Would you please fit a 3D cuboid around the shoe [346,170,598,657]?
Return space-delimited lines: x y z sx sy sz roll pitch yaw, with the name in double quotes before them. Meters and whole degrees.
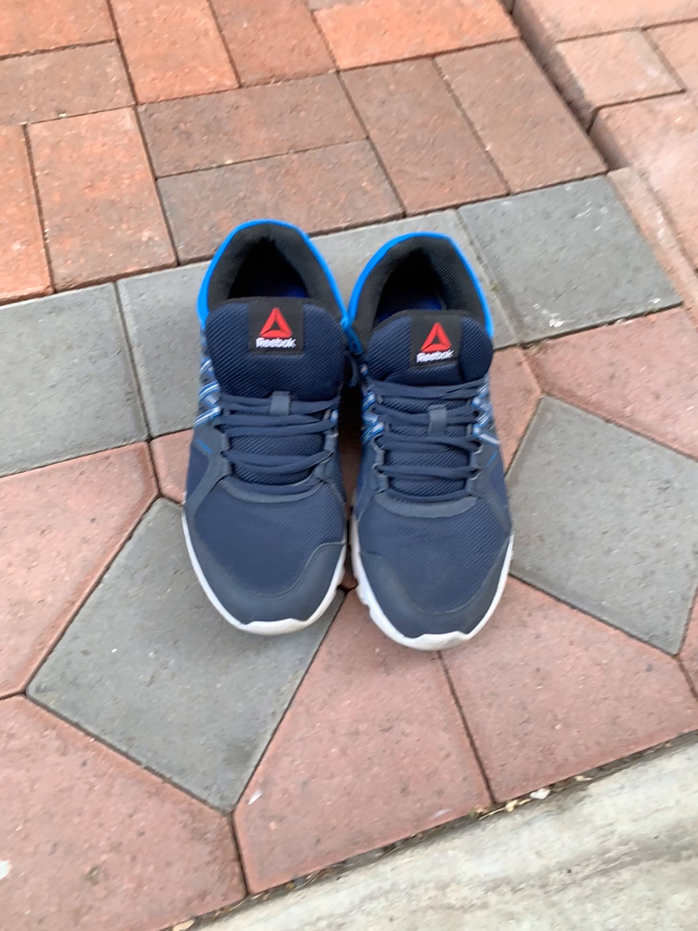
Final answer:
"shoe" 0.058 -0.034 0.449 0.110 0.119 0.282 0 65 -2

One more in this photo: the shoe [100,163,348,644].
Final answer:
"shoe" -0.060 -0.037 0.429 0.110 0.119 0.262 0 65 -2
